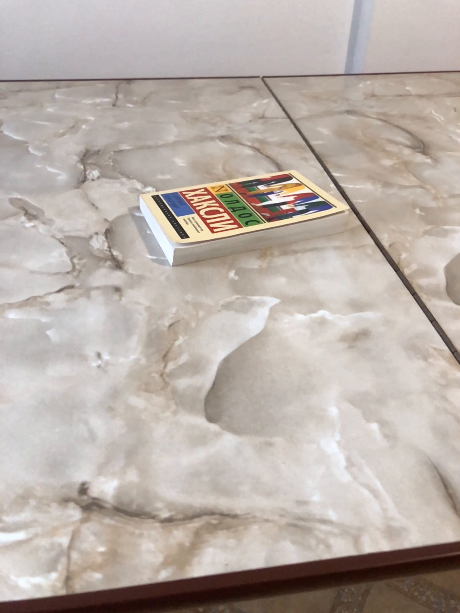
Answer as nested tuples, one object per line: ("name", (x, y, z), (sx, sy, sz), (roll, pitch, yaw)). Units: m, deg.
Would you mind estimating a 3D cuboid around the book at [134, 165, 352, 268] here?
("book", (0.010, -0.097, 0.508), (0.184, 0.020, 0.121), (-14, 40, -18))
